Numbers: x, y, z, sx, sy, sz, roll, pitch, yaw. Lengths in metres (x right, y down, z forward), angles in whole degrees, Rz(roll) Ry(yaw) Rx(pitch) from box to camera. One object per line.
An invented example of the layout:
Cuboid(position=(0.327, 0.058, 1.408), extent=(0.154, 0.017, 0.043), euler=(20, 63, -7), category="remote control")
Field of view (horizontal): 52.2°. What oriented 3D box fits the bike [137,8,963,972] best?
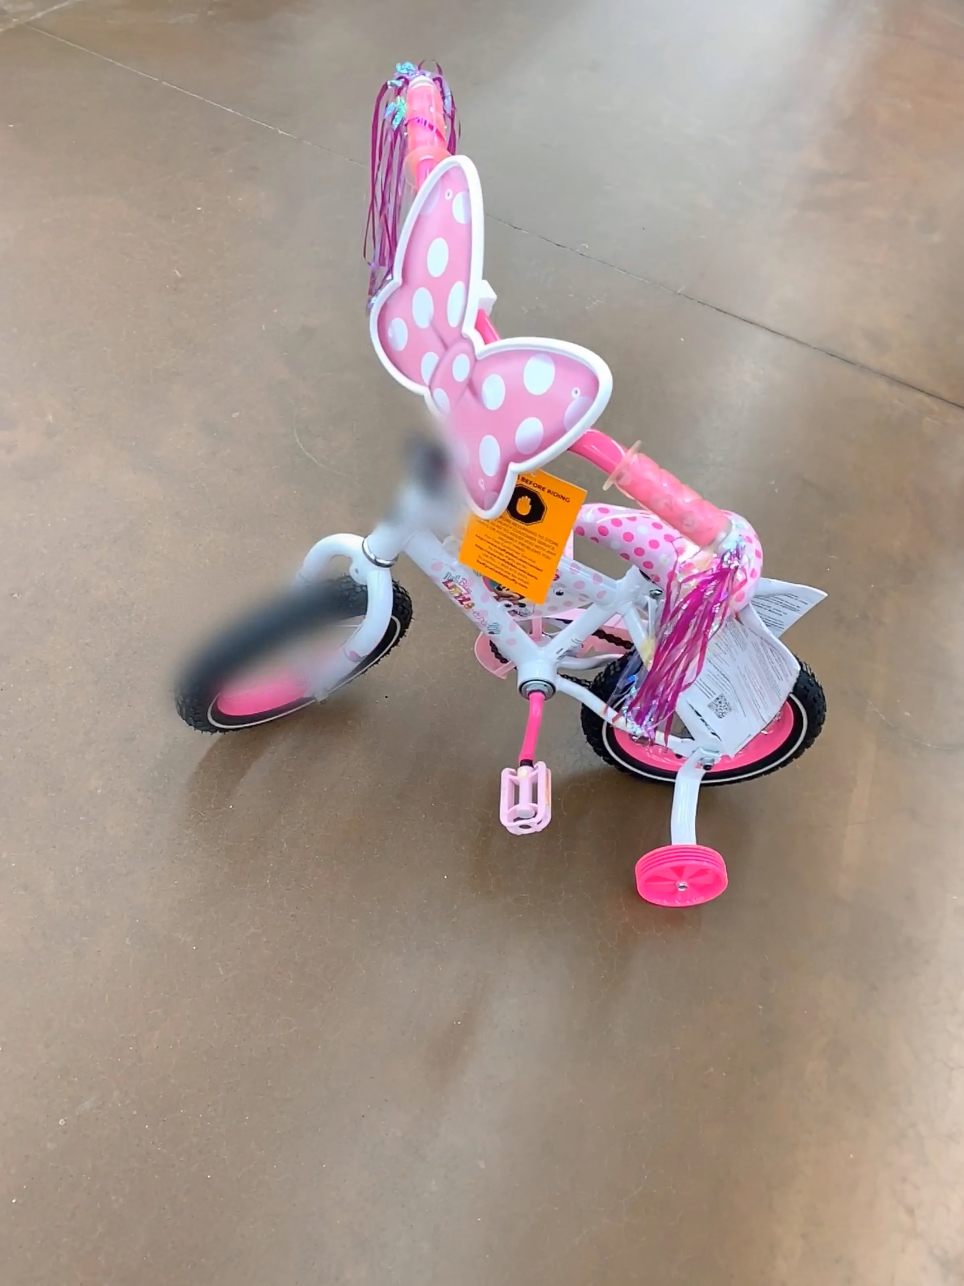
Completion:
Cuboid(position=(0.094, -0.042, 0.988), extent=(0.759, 0.750, 0.444), euler=(1, 51, -16), category="bike")
